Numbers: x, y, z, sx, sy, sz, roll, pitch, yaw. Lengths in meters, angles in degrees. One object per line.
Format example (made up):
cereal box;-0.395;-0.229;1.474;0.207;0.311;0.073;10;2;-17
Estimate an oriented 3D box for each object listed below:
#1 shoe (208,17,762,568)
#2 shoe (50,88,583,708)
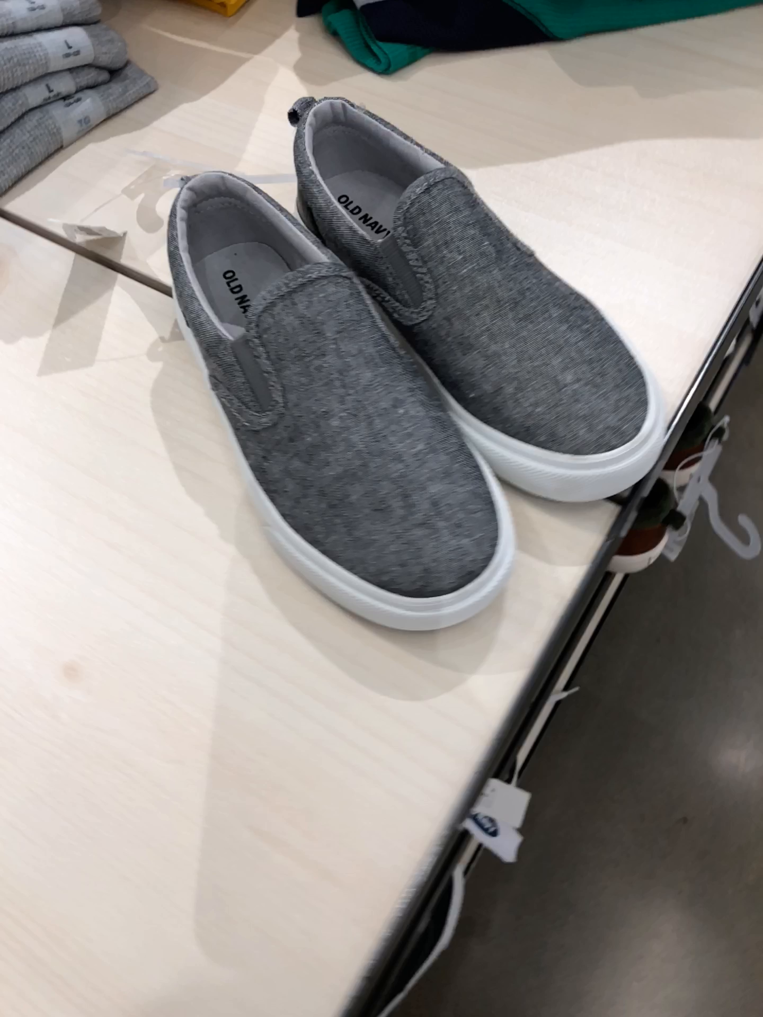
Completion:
shoe;0.031;-0.096;0.358;0.090;0.100;0.210;-35;64;-15
shoe;-0.031;-0.048;0.329;0.090;0.100;0.210;-29;62;-12
